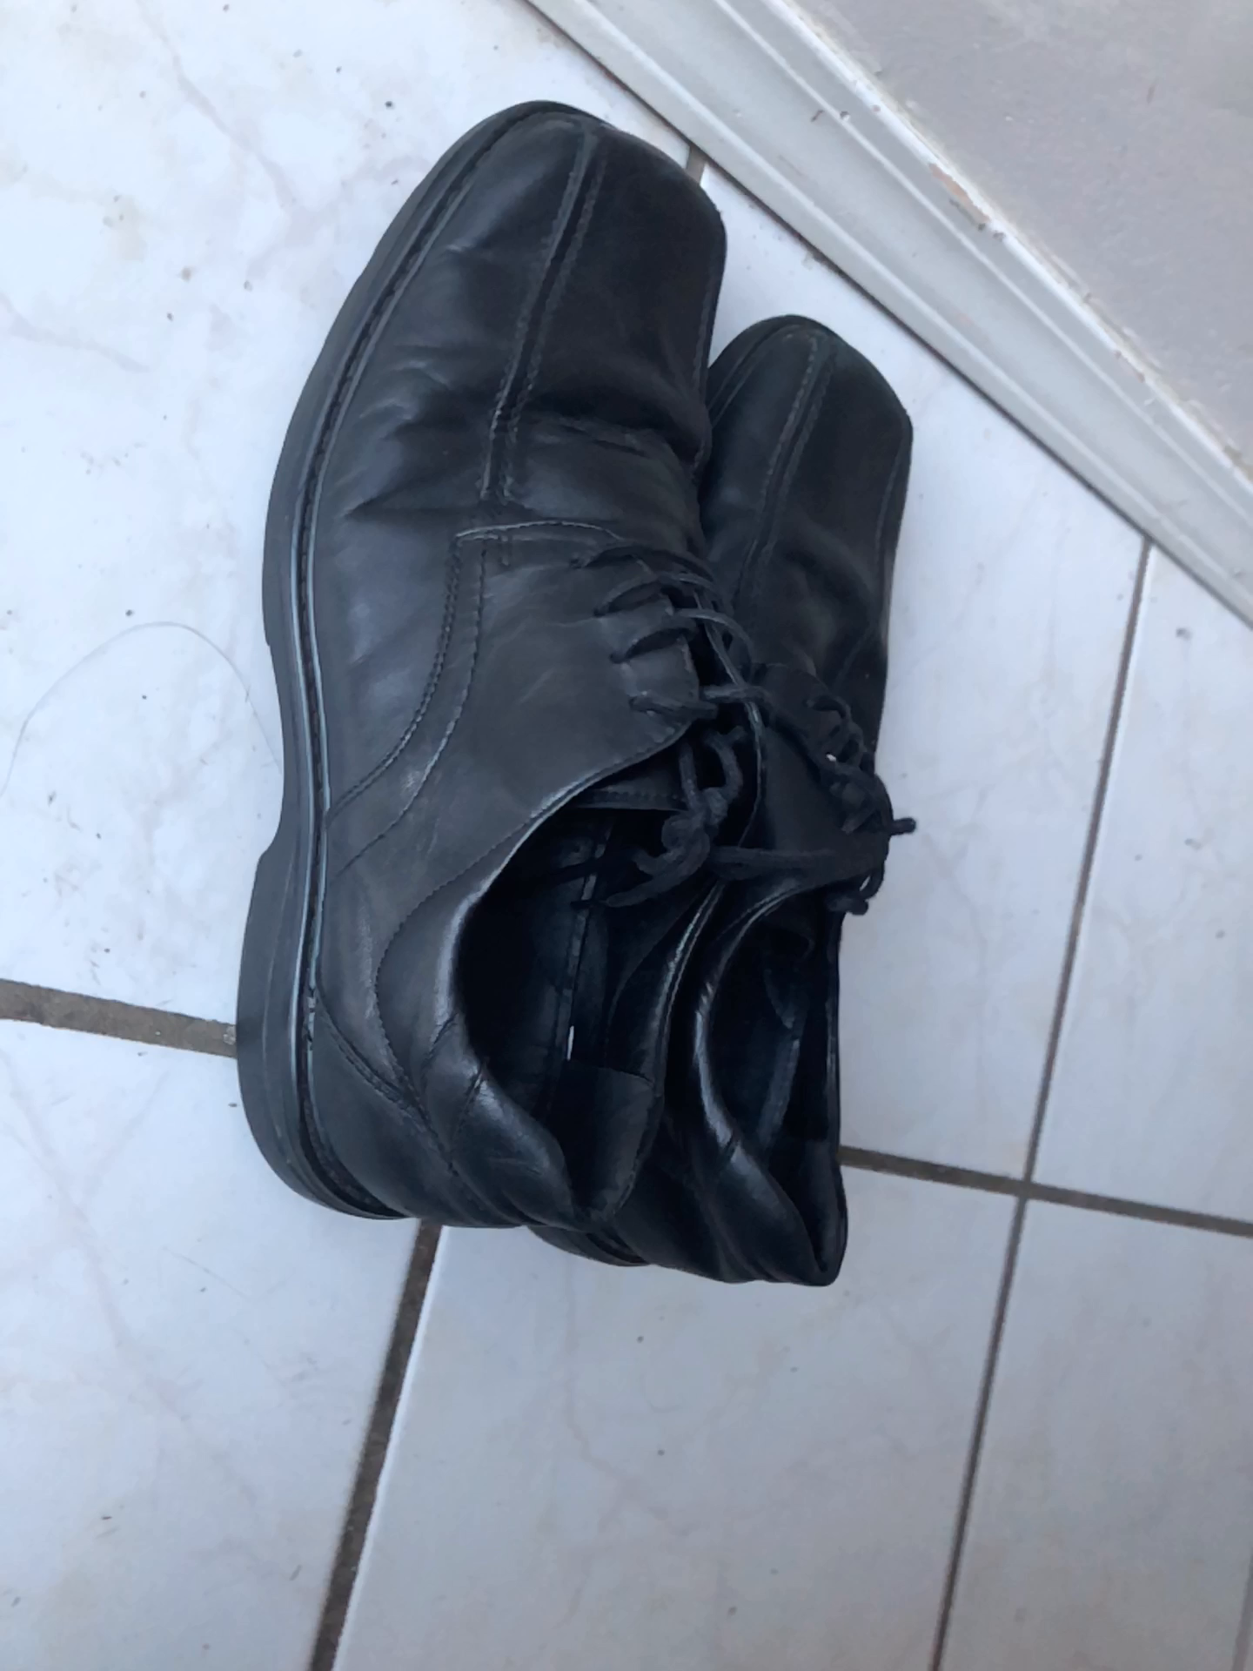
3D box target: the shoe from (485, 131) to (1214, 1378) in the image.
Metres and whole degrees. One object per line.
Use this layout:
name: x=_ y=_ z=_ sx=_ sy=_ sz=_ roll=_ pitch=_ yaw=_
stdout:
shoe: x=0.066 y=-0.016 z=0.383 sx=0.111 sy=0.100 sz=0.290 roll=18 pitch=81 yaw=-40

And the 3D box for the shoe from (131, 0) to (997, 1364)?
shoe: x=-0.010 y=-0.044 z=0.326 sx=0.121 sy=0.100 sz=0.290 roll=14 pitch=84 yaw=-41
